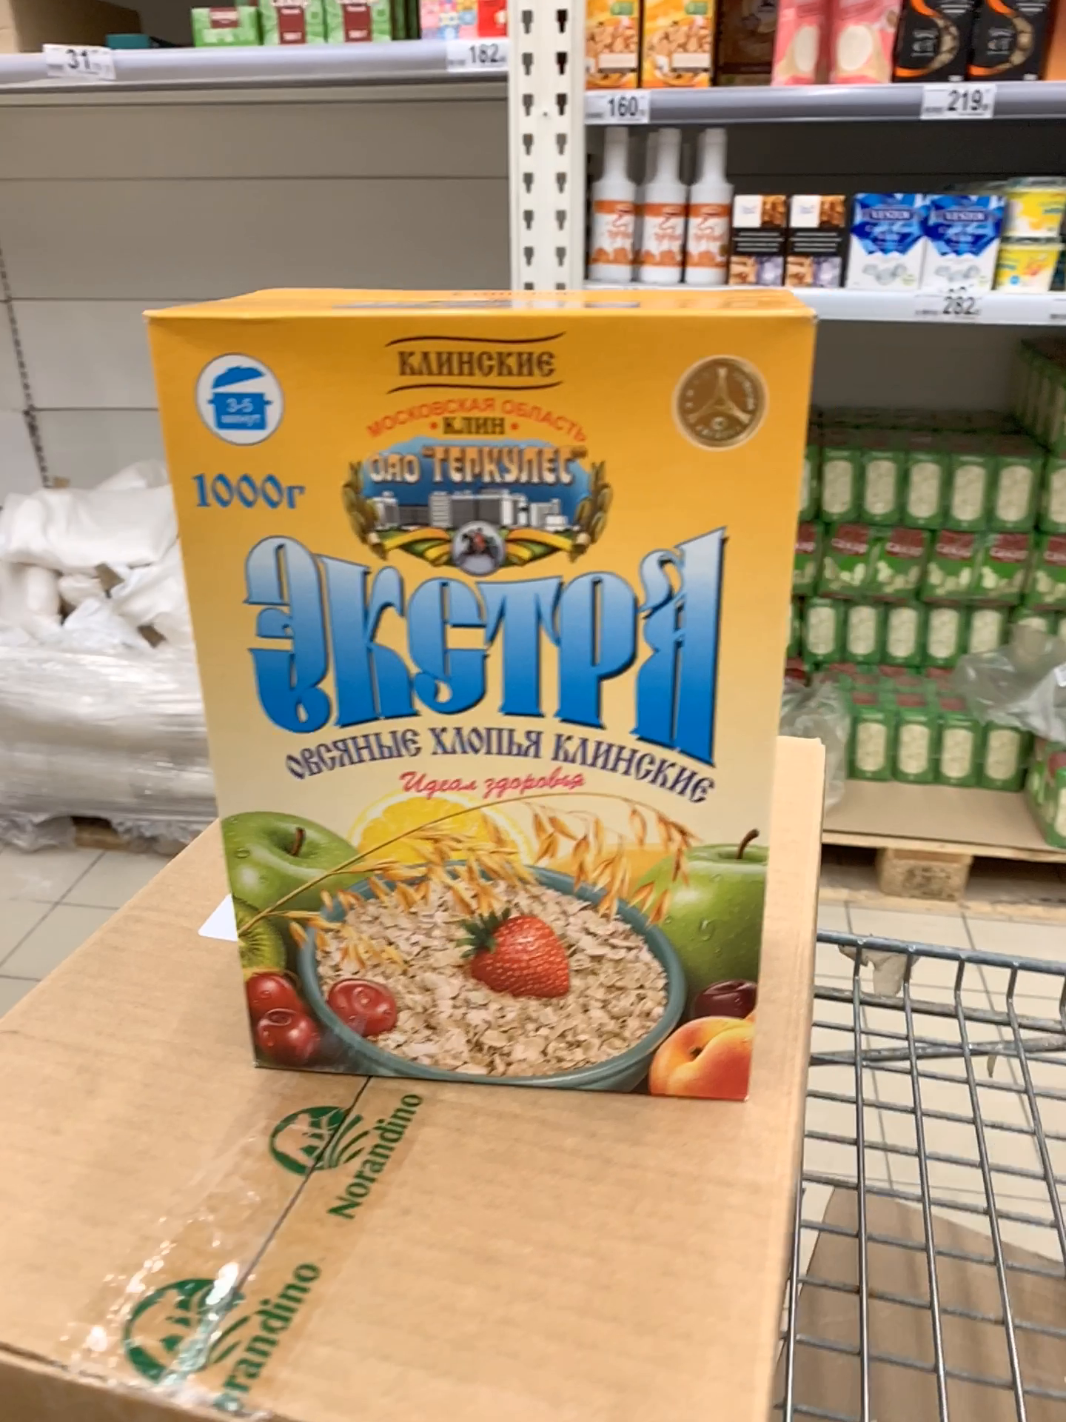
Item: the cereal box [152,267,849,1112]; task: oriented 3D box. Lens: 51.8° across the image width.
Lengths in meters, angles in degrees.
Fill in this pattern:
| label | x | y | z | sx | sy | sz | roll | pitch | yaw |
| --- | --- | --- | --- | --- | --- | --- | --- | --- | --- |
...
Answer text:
| label | x | y | z | sx | sy | sz | roll | pitch | yaw |
| --- | --- | --- | --- | --- | --- | --- | --- | --- | --- |
| cereal box | -0.005 | -0.008 | 0.345 | 0.160 | 0.239 | 0.101 | 2 | 25 | 5 |
